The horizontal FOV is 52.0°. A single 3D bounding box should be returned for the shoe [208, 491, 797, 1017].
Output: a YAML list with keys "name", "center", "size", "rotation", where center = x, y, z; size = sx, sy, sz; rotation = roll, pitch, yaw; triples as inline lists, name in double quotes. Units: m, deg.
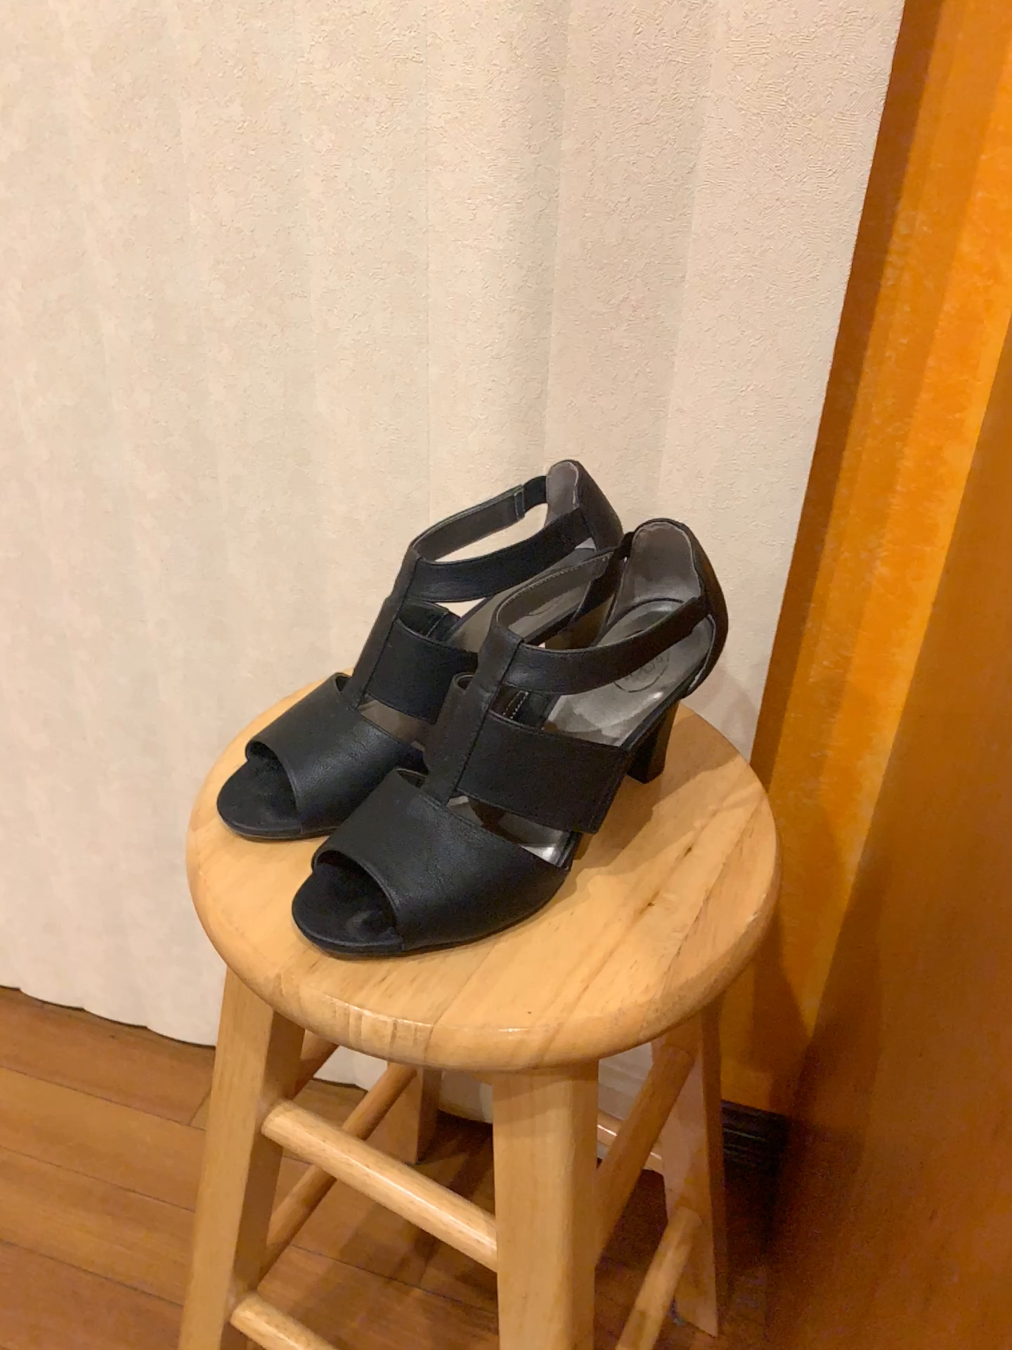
- name: "shoe"
  center: [0.005, 0.019, 0.465]
  size: [0.234, 0.130, 0.100]
  rotation: [-22, 39, -33]

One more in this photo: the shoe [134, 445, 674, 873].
- name: "shoe"
  center: [-0.042, -0.021, 0.524]
  size: [0.244, 0.125, 0.090]
  rotation: [-20, 38, -31]
